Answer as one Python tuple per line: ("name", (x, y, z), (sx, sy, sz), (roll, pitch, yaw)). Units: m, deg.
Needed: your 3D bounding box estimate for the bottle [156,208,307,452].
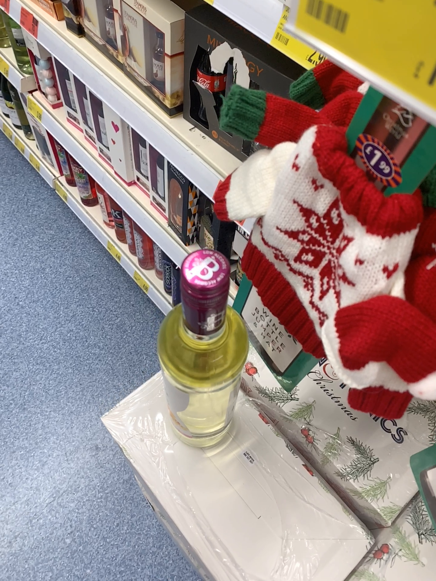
("bottle", (-0.006, 0.060, 0.380), (0.080, 0.288, 0.082), (2, 58, -4))
